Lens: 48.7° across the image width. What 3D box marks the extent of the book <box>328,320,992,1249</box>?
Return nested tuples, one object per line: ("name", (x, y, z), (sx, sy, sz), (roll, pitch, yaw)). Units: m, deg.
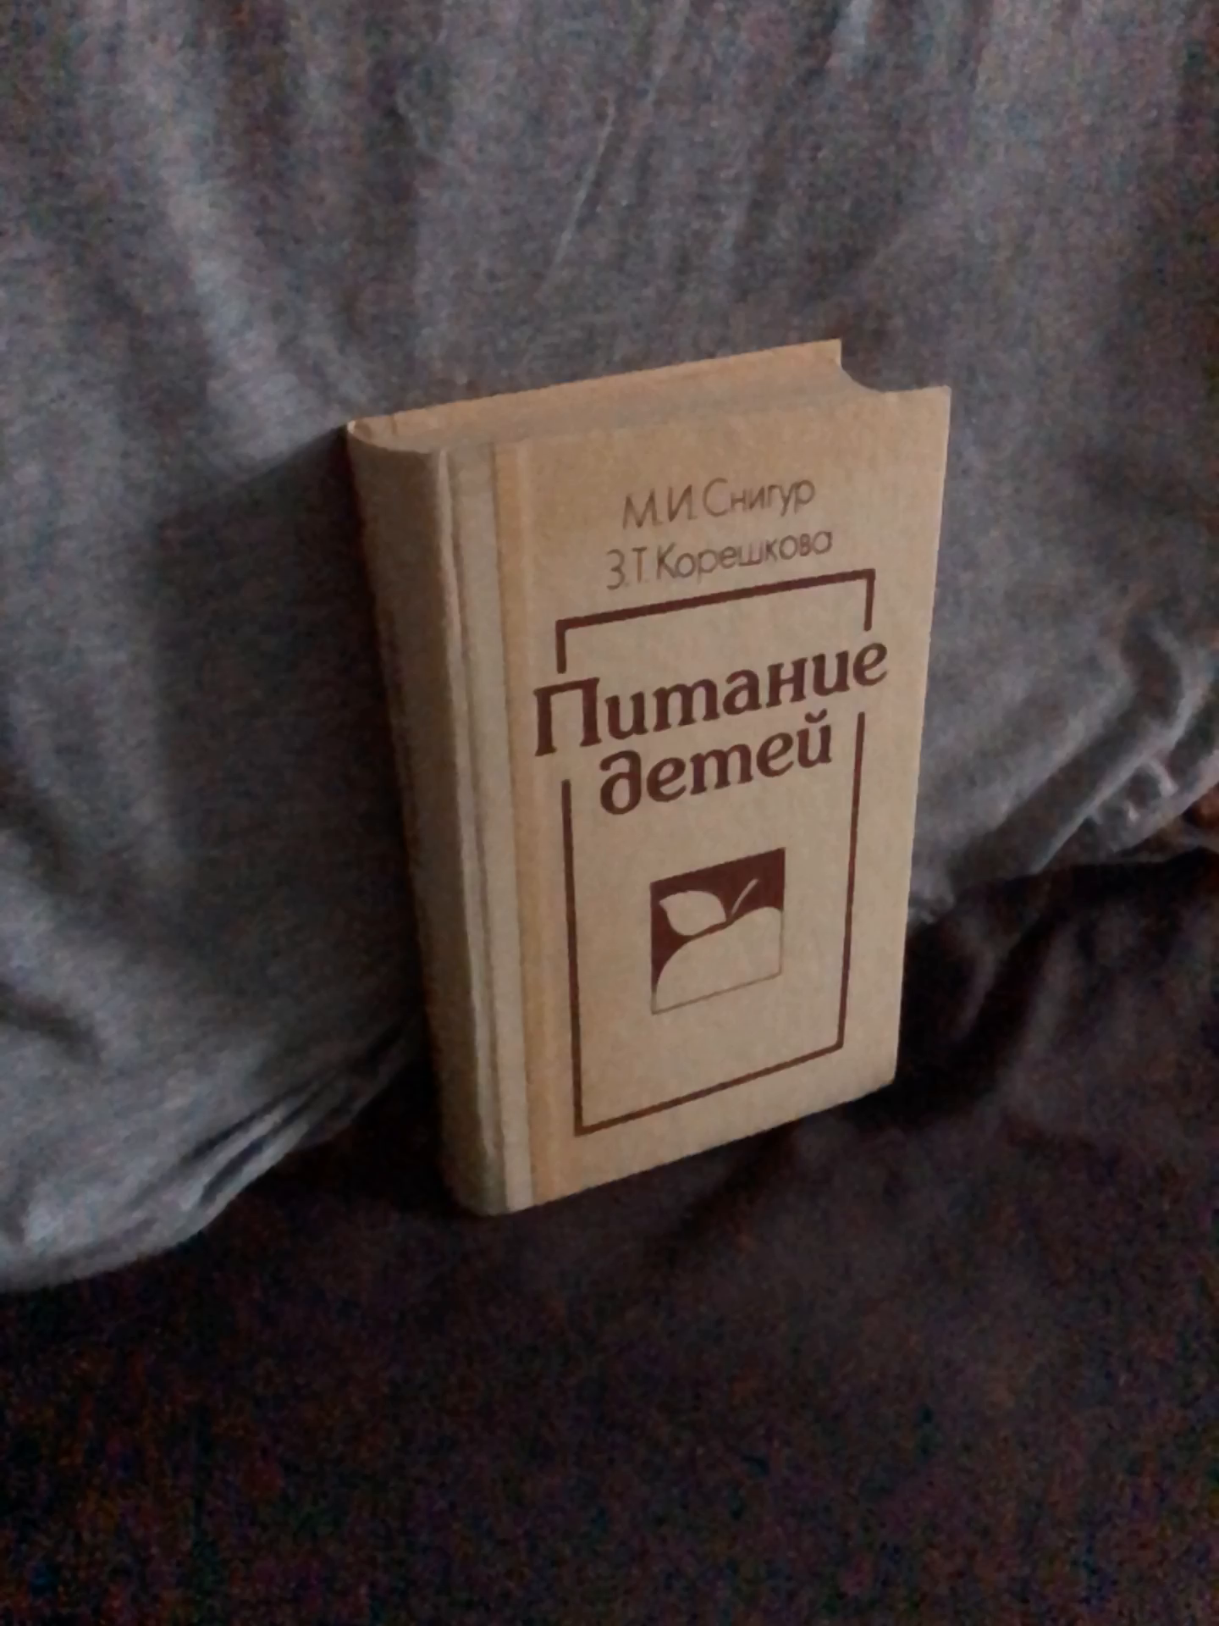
("book", (0.018, -0.003, 0.353), (0.144, 0.219, 0.041), (-14, 31, -19))
